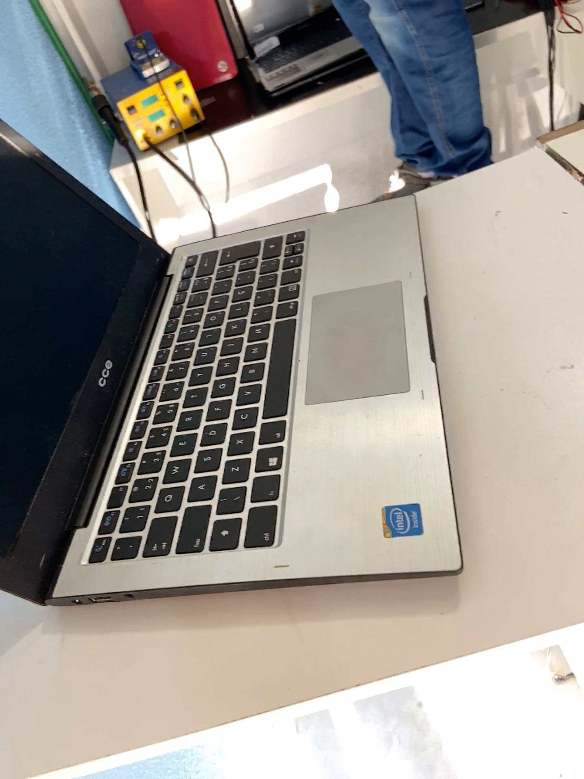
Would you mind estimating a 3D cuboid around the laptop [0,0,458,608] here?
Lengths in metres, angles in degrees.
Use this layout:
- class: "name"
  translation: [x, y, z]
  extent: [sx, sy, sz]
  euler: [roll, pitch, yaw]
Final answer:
- class: "laptop"
  translation: [-0.088, -0.073, 0.348]
  extent: [0.303, 0.181, 0.314]
  euler: [-9, 45, 16]
